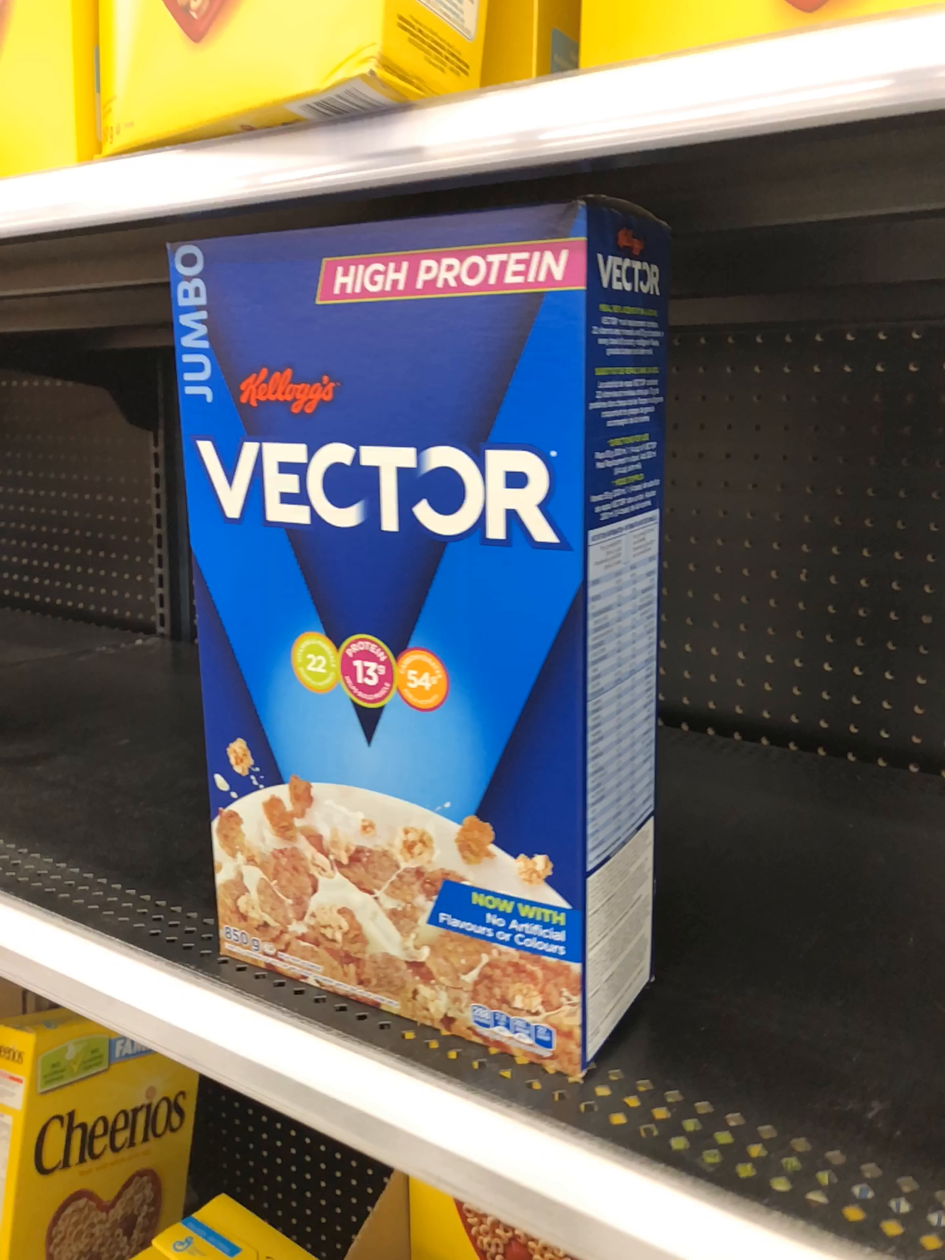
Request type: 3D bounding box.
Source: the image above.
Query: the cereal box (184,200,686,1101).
[{"bbox_3d":[-0.018,0.005,0.477,0.200,0.349,0.080,7,14,30],"label":"cereal box"}]
